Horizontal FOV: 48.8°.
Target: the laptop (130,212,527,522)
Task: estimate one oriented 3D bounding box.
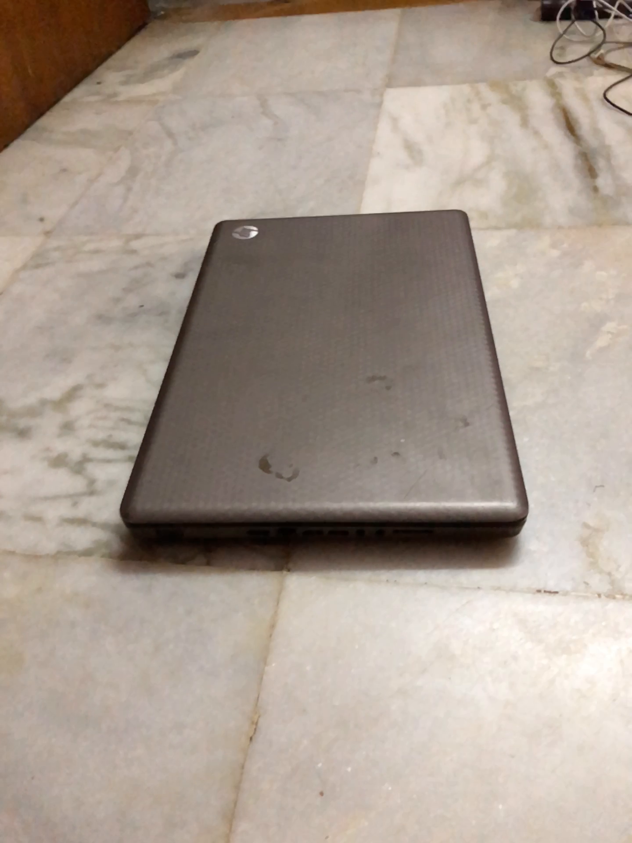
[{"bbox_3d":[0.016,-0.075,0.584,0.252,0.003,0.396,-1,44,5],"label":"laptop"}]
